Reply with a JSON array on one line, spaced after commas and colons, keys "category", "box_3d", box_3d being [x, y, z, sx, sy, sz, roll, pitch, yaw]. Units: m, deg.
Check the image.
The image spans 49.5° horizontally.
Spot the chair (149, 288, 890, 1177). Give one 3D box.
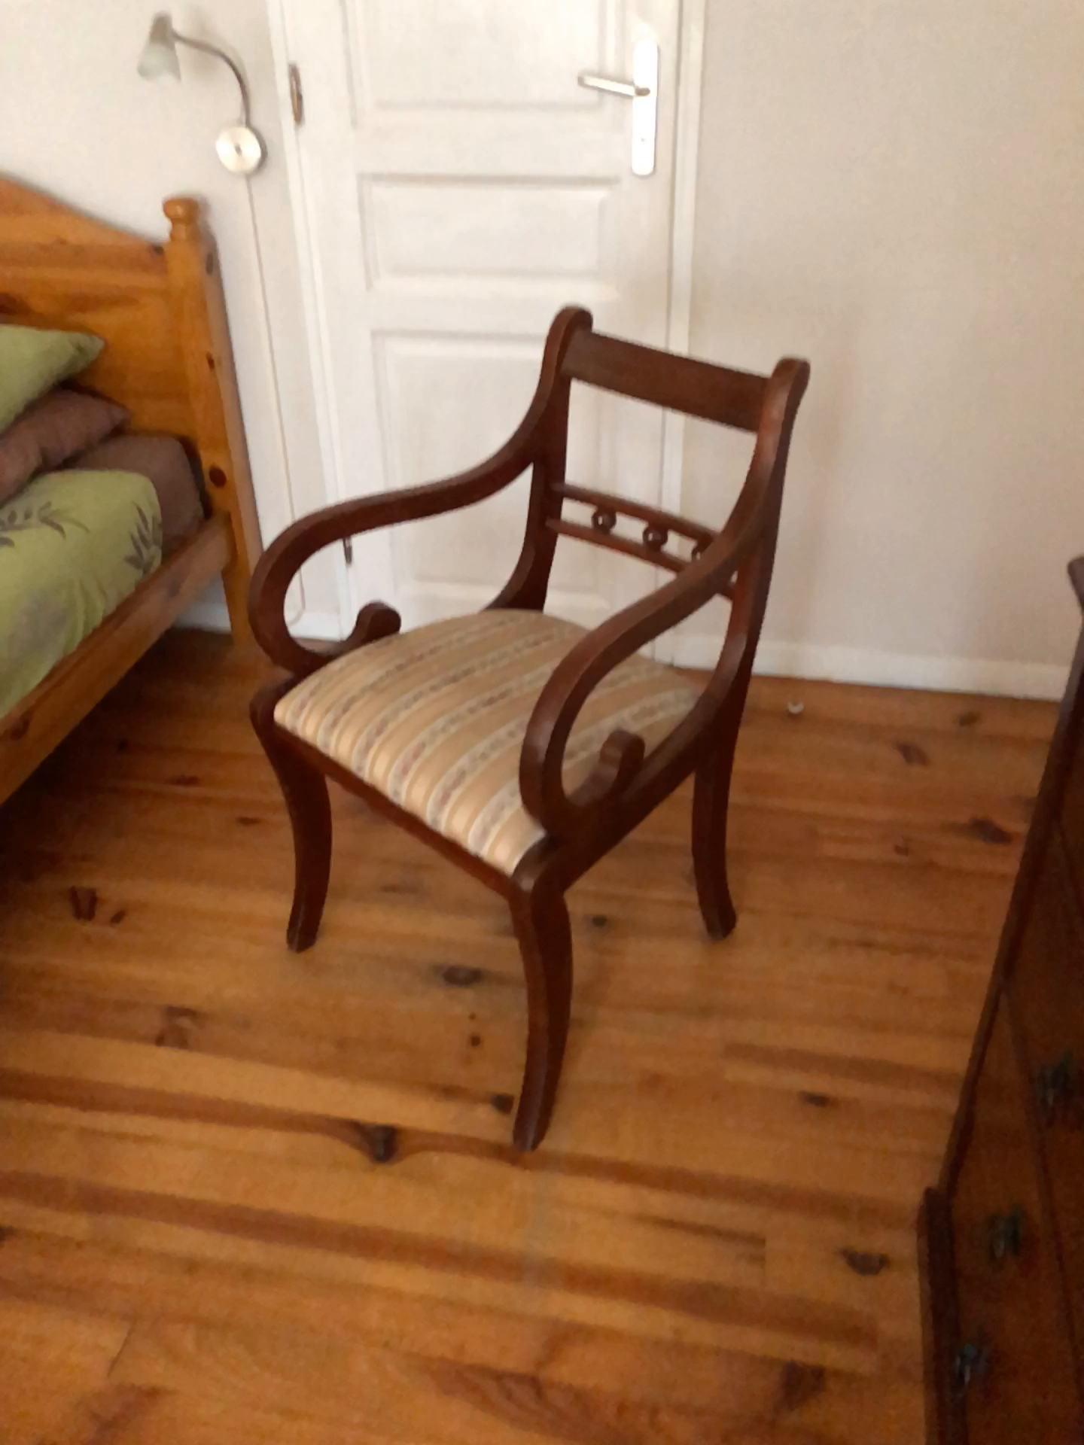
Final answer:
[{"category": "chair", "box_3d": [-0.027, -0.038, 1.502, 0.573, 0.825, 0.581, -26, 40, -35]}]
